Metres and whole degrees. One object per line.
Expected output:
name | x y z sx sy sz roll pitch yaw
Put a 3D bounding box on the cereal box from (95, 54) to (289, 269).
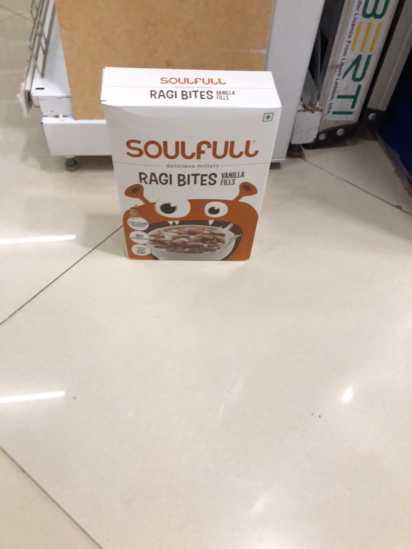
cereal box | -0.019 -0.109 0.519 0.170 0.248 0.070 0 54 -4
